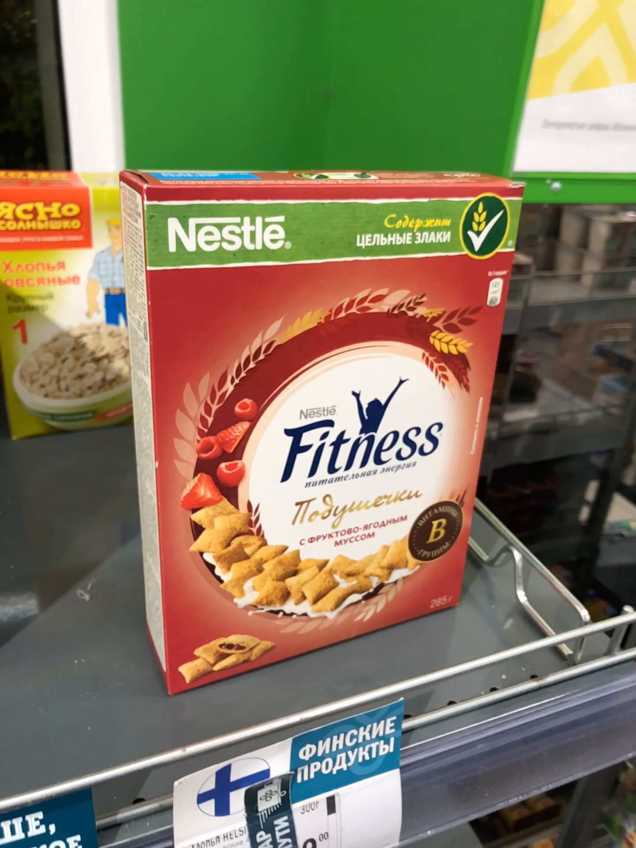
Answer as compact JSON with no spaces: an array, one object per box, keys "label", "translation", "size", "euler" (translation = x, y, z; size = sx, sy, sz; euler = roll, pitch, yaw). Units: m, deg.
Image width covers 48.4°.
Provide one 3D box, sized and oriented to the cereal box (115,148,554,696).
[{"label":"cereal box","translation":[0.006,-0.005,0.366],"size":[0.190,0.249,0.060],"euler":[-9,27,-26]}]
